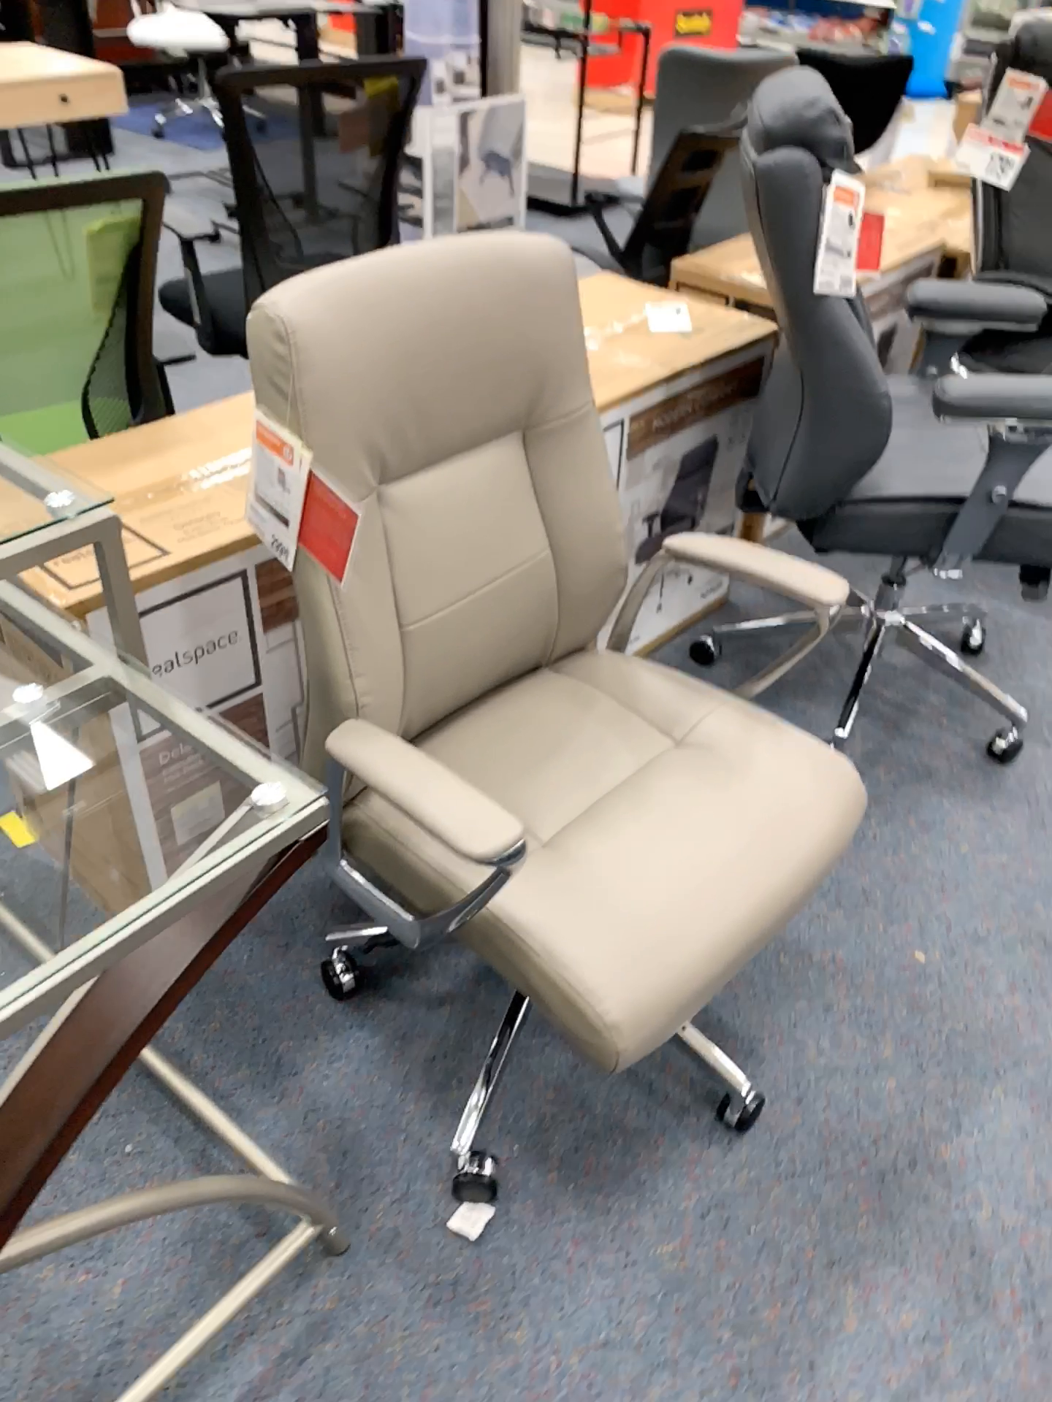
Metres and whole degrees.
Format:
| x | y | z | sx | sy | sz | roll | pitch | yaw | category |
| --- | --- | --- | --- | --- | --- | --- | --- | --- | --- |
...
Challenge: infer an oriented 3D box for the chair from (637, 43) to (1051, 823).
| x | y | z | sx | sy | sz | roll | pitch | yaw | category |
| --- | --- | --- | --- | --- | --- | --- | --- | --- | --- |
| 0.712 | -0.505 | 1.974 | 0.814 | 1.055 | 0.815 | 9 | 38 | 7 | chair |

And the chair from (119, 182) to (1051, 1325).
| x | y | z | sx | sy | sz | roll | pitch | yaw | category |
| --- | --- | --- | --- | --- | --- | --- | --- | --- | --- |
| 0.094 | 0.015 | 1.285 | 0.675 | 0.956 | 0.693 | 32 | 46 | 31 | chair |
